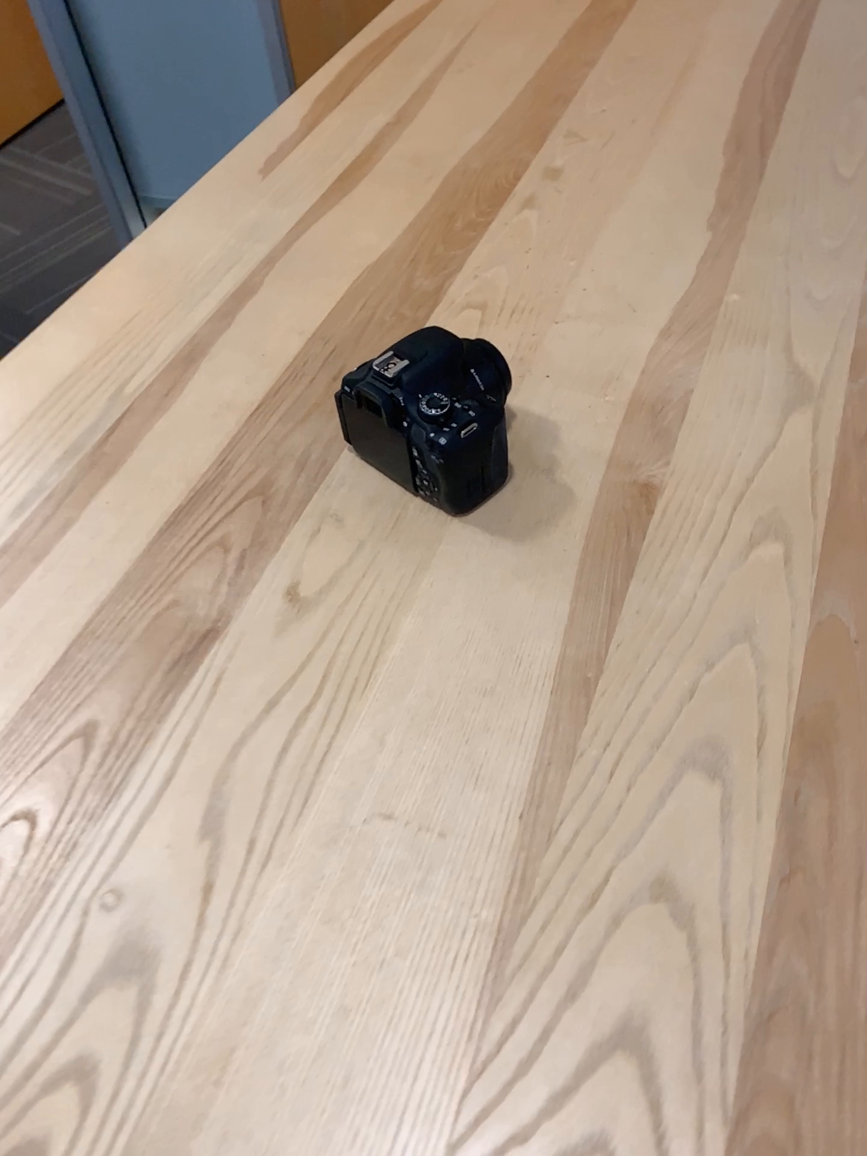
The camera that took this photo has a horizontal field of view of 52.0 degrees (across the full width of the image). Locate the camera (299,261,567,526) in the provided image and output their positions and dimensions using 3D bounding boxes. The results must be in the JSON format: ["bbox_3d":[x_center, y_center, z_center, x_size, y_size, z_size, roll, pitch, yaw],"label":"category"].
[{"bbox_3d":[0.003,-0.139,0.654,0.120,0.100,0.145,-39,55,-24],"label":"camera"}]
